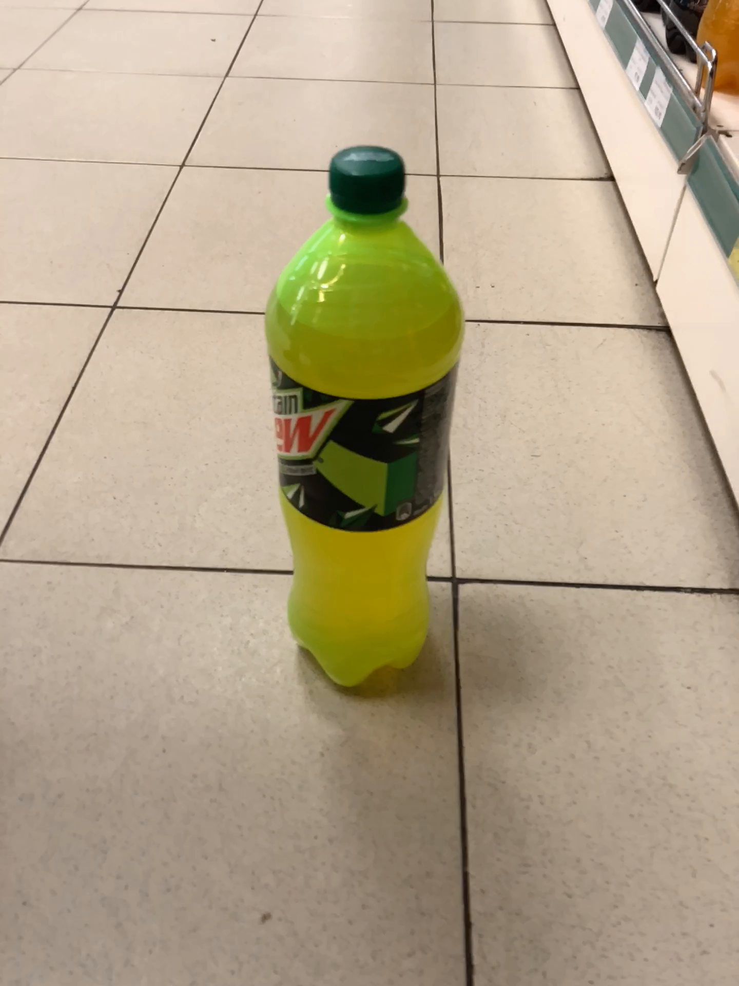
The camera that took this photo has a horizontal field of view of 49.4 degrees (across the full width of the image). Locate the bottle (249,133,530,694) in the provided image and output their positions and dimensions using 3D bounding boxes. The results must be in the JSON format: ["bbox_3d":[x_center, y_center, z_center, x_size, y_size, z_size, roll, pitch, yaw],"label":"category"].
[{"bbox_3d":[0.000,-0.019,0.422,0.100,0.294,0.095,1,45,-1],"label":"bottle"}]
